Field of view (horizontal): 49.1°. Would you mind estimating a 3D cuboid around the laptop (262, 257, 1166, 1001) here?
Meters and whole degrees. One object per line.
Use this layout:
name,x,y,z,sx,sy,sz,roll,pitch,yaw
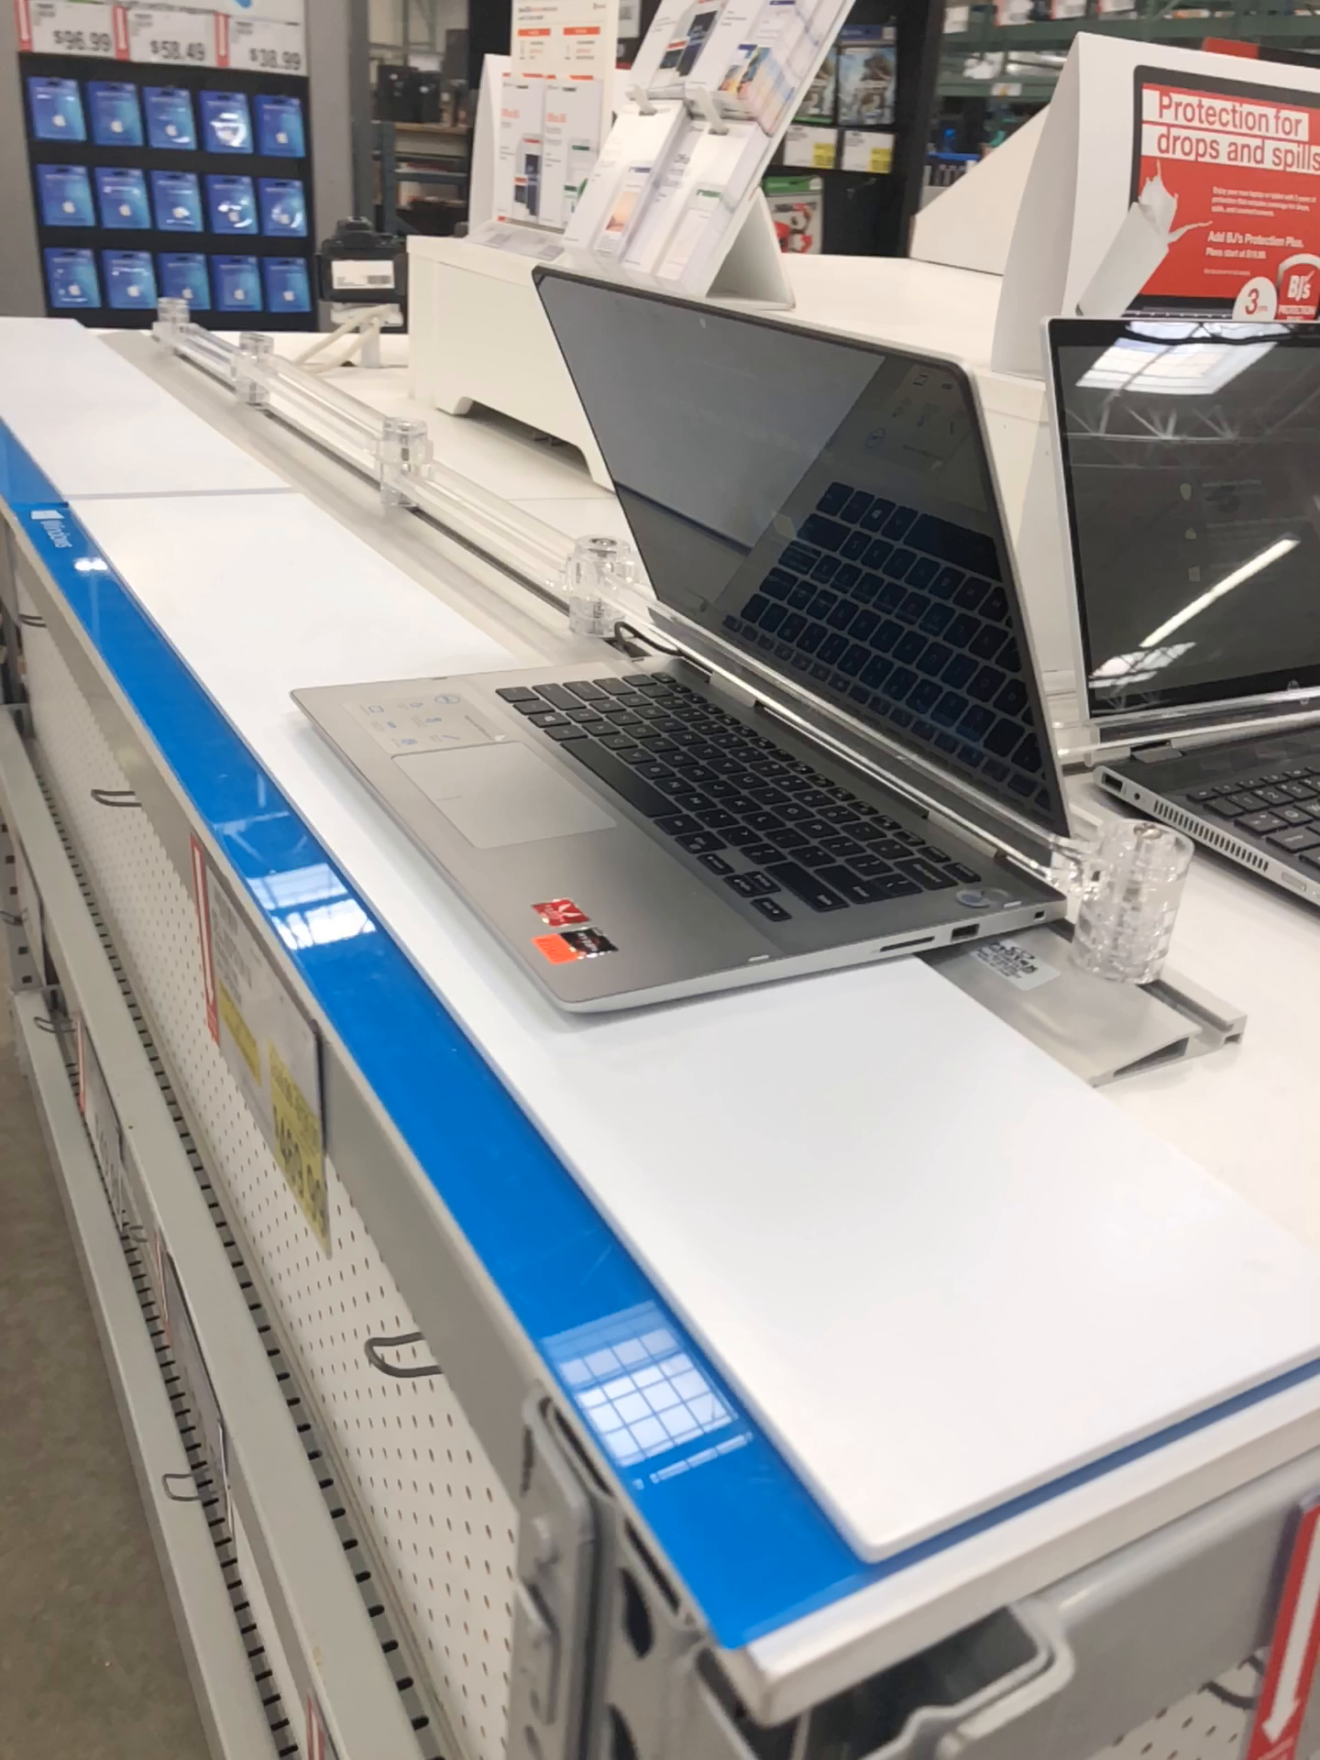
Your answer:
laptop,-0.009,-0.134,0.604,0.222,0.199,0.320,-10,30,-27
